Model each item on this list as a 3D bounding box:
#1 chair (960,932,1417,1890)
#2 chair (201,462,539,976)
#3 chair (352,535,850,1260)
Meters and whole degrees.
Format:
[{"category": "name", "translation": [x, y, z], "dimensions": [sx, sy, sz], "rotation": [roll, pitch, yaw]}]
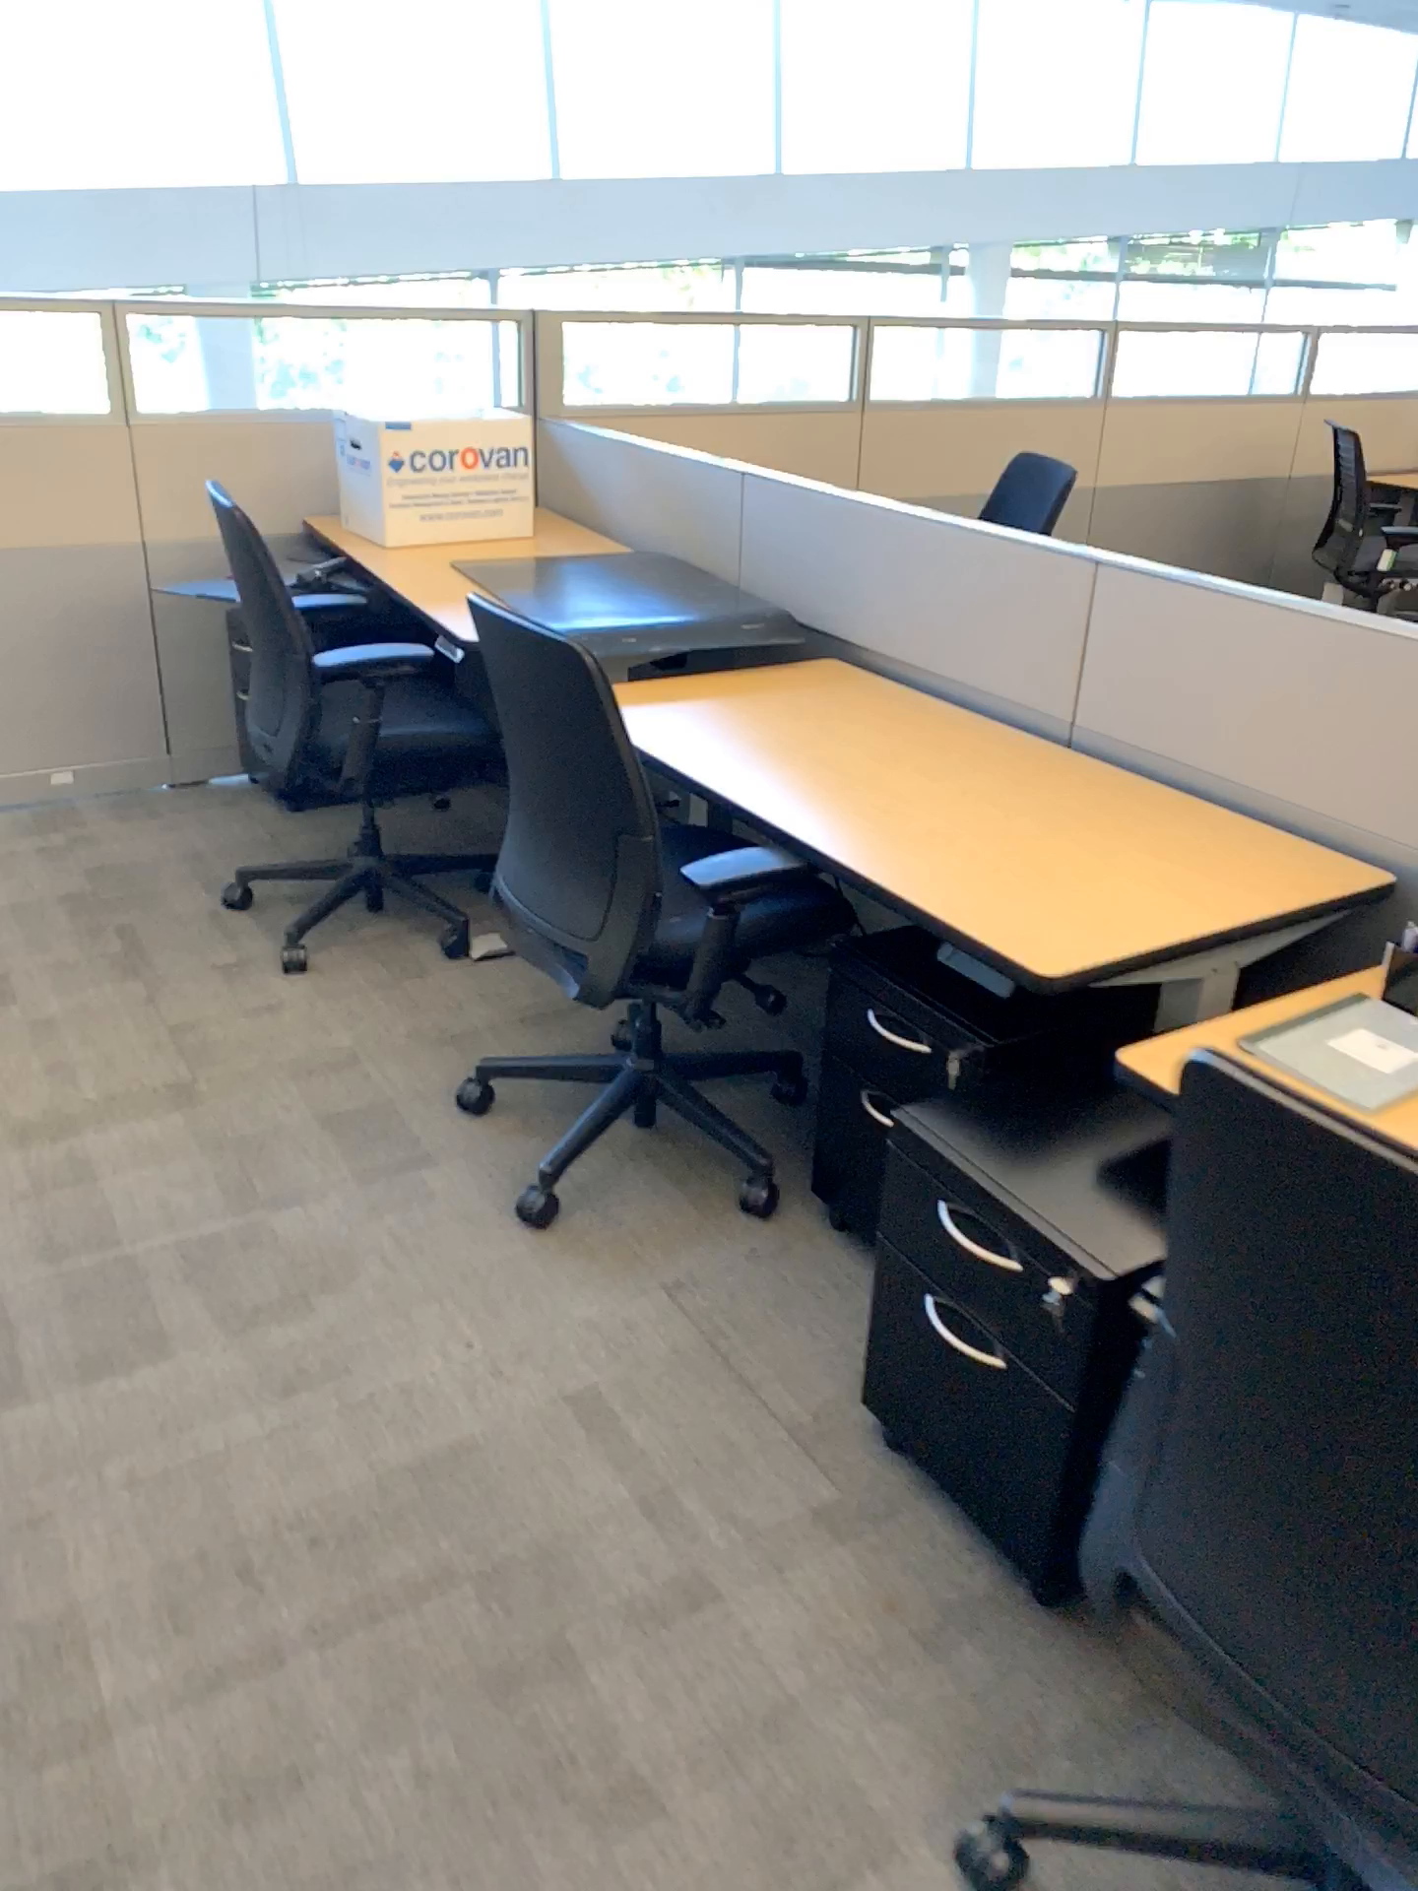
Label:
[{"category": "chair", "translation": [0.621, 0.587, 1.213], "dimensions": [0.460, 0.995, 0.543], "rotation": [-12, 29, -28]}, {"category": "chair", "translation": [-0.765, -0.541, 3.285], "dimensions": [0.600, 0.995, 0.563], "rotation": [-8, 27, -22]}, {"category": "chair", "translation": [-0.195, -0.112, 2.395], "dimensions": [0.580, 0.995, 0.523], "rotation": [-13, 29, -29]}]
